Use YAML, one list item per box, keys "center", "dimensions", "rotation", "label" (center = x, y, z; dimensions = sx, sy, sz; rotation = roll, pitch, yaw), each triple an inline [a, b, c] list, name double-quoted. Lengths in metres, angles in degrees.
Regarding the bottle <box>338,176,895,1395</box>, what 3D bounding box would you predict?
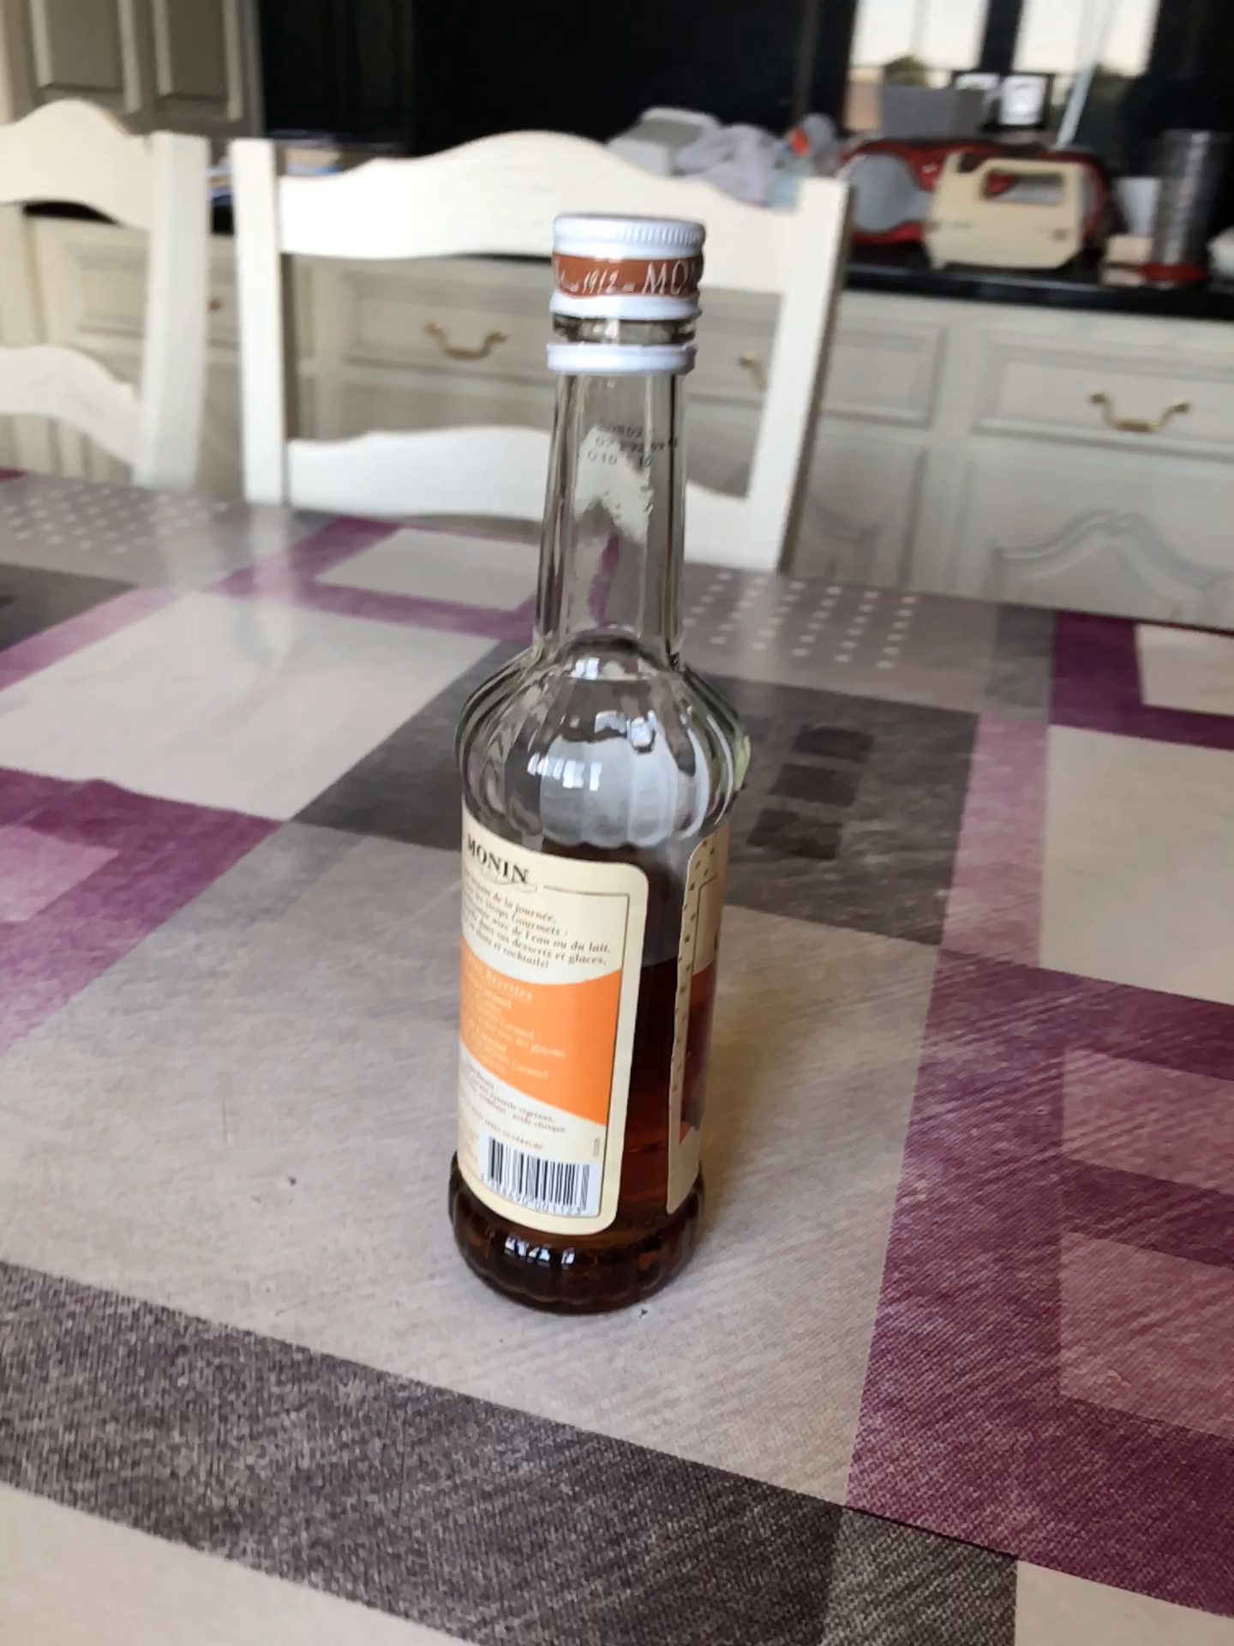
- center: [-0.006, -0.004, 0.294]
  dimensions: [0.070, 0.239, 0.070]
  rotation: [3, 26, -1]
  label: "bottle"
